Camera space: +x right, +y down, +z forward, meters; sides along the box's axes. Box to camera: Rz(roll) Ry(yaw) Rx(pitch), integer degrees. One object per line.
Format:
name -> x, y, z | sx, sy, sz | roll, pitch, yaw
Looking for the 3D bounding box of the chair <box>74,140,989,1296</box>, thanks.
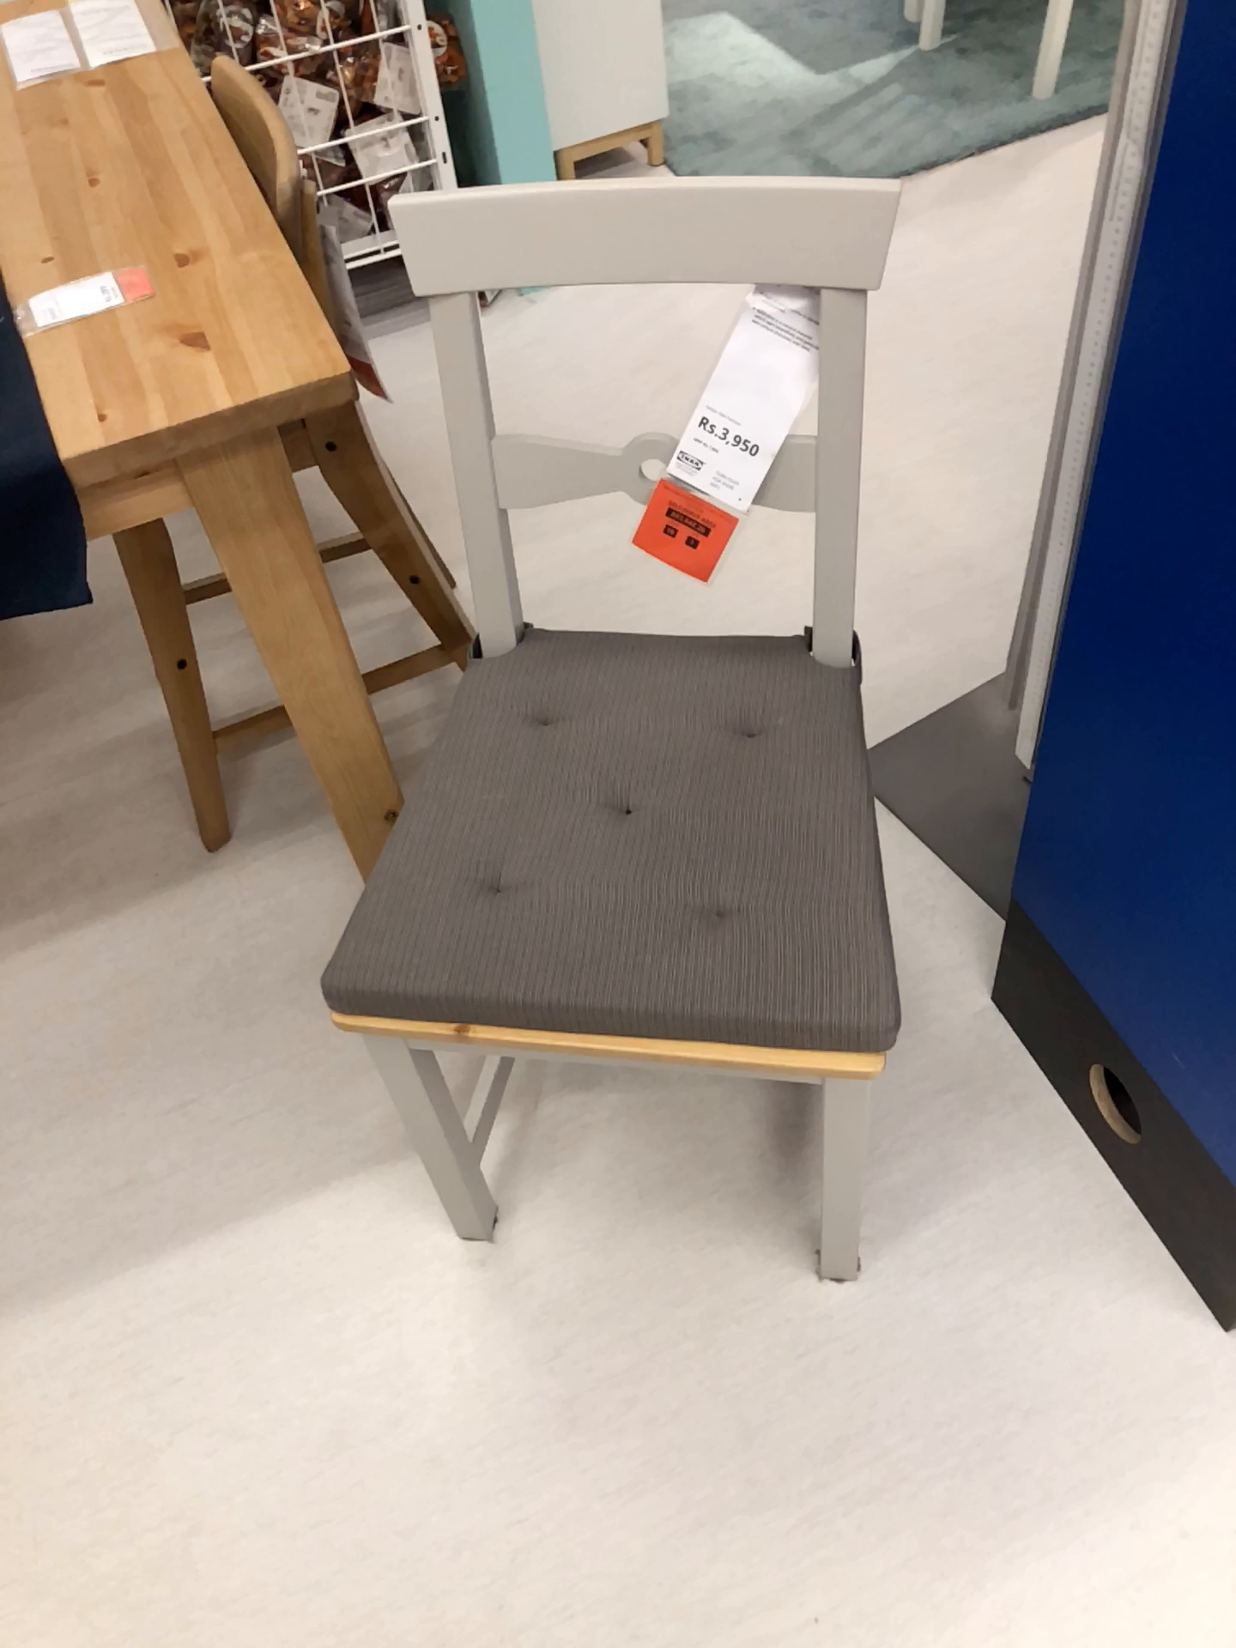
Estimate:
chair -> 0.021, -0.027, 1.060 | 0.430, 0.766, 0.473 | 3, 51, 10
